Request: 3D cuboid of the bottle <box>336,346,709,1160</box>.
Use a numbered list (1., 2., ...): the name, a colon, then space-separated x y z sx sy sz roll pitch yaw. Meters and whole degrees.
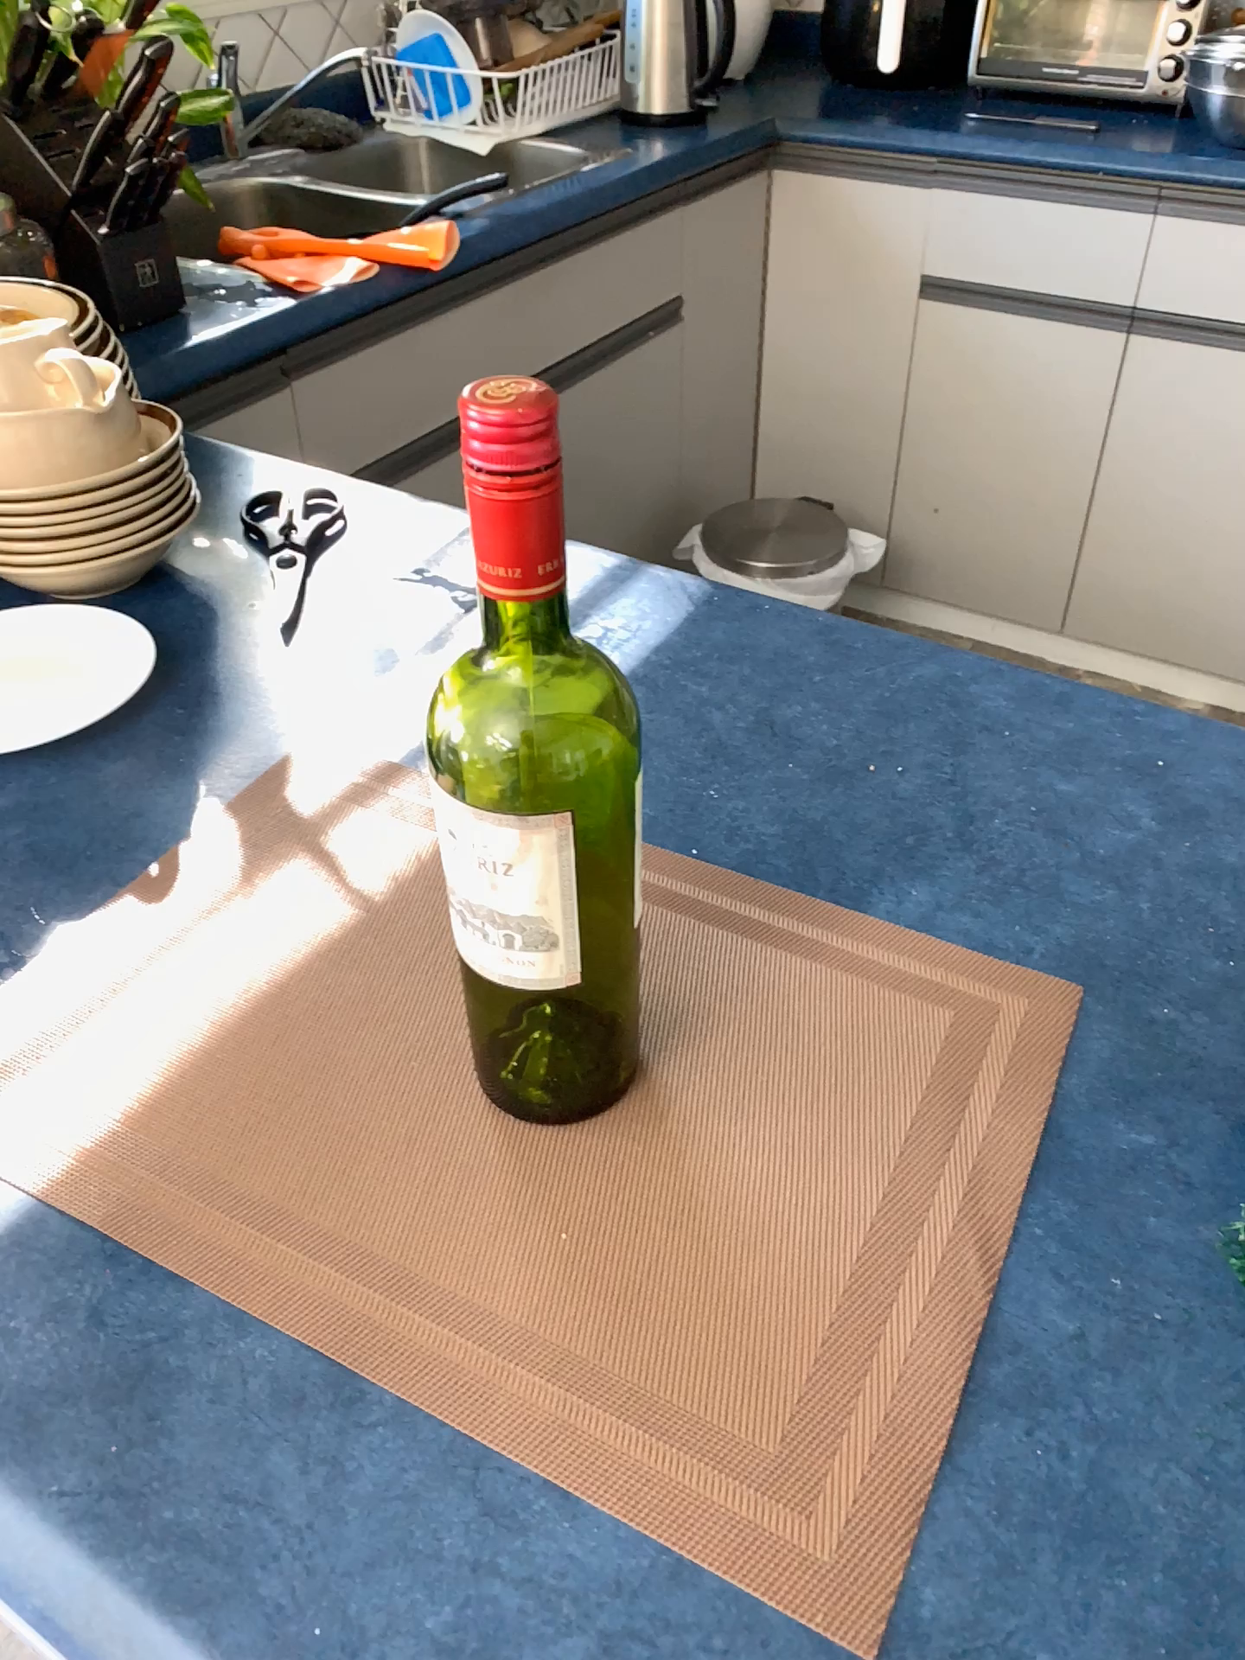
1. bottle: -0.029 -0.014 0.457 0.080 0.277 0.081 -1 38 1
